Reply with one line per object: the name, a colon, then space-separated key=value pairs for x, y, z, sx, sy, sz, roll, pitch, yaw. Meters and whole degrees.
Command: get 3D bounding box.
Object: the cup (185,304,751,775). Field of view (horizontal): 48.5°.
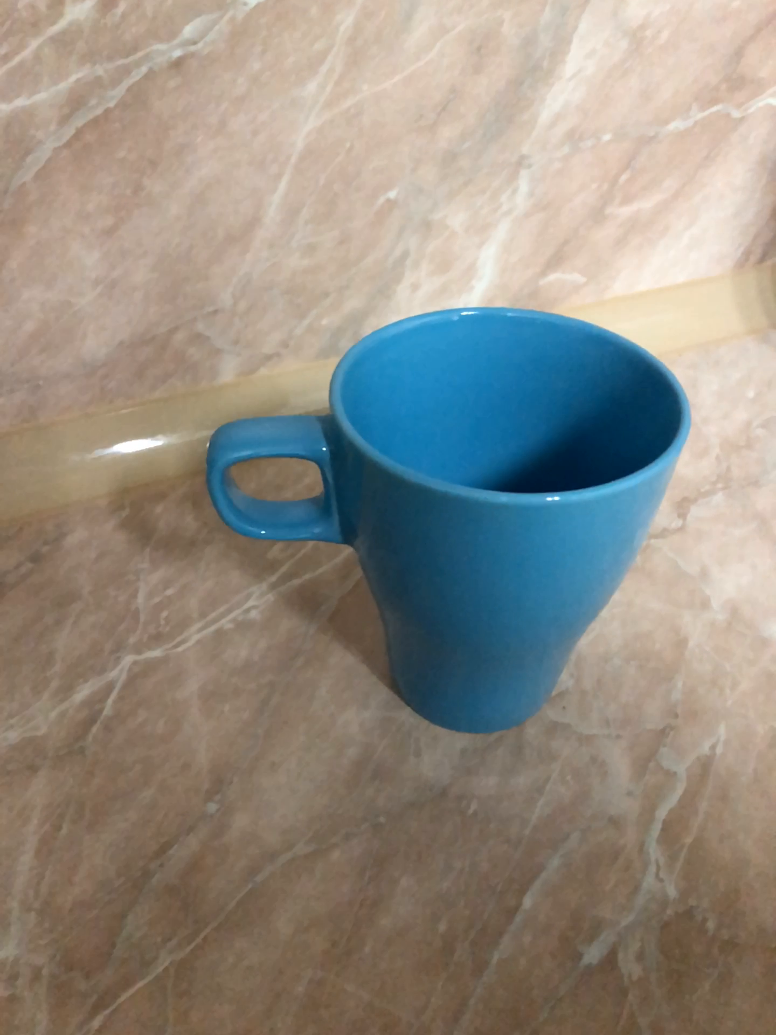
cup: x=0.014 y=0.005 z=0.230 sx=0.111 sy=0.089 sz=0.086 roll=0 pitch=40 yaw=-2
